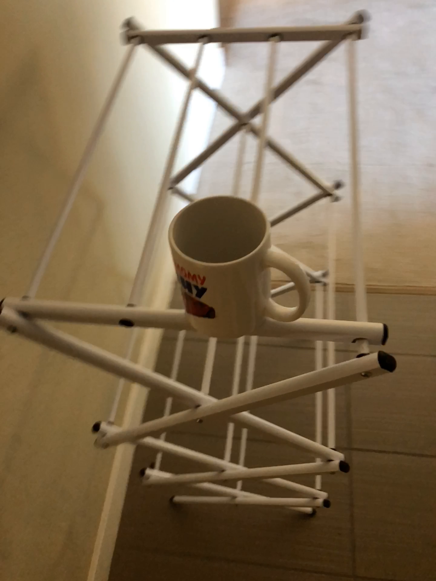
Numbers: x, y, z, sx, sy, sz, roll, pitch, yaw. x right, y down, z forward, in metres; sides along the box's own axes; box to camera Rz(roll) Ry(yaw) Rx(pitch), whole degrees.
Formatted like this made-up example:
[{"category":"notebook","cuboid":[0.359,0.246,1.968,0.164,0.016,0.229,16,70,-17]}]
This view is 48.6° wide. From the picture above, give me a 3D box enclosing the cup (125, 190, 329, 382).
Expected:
[{"category":"cup","cuboid":[0.012,-0.007,0.402,0.130,0.090,0.090,18,55,23]}]
